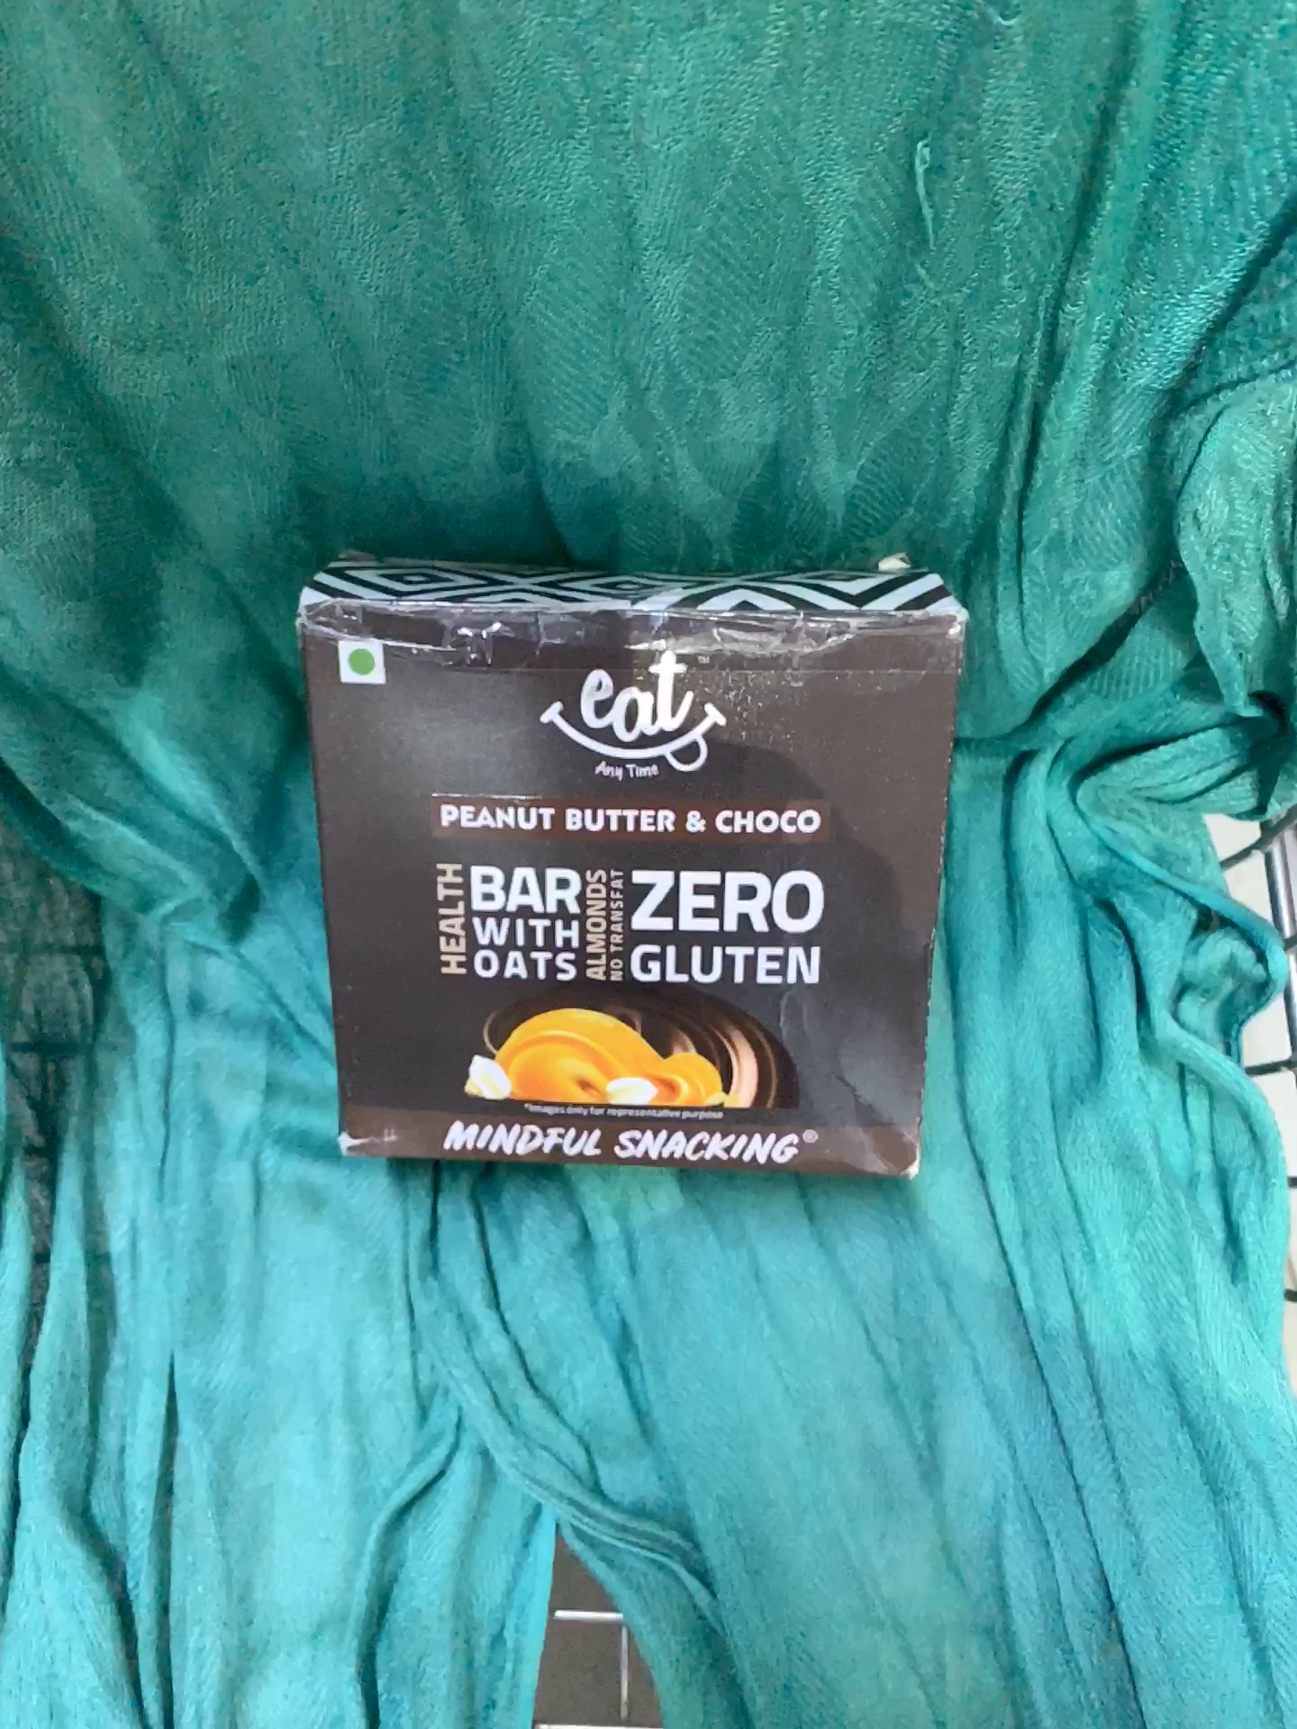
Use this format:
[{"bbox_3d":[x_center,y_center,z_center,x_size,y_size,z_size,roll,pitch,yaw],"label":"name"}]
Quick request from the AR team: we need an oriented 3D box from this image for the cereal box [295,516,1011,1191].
[{"bbox_3d":[0.001,-0.009,0.326,0.140,0.090,0.140,2,108,2],"label":"cereal box"}]
